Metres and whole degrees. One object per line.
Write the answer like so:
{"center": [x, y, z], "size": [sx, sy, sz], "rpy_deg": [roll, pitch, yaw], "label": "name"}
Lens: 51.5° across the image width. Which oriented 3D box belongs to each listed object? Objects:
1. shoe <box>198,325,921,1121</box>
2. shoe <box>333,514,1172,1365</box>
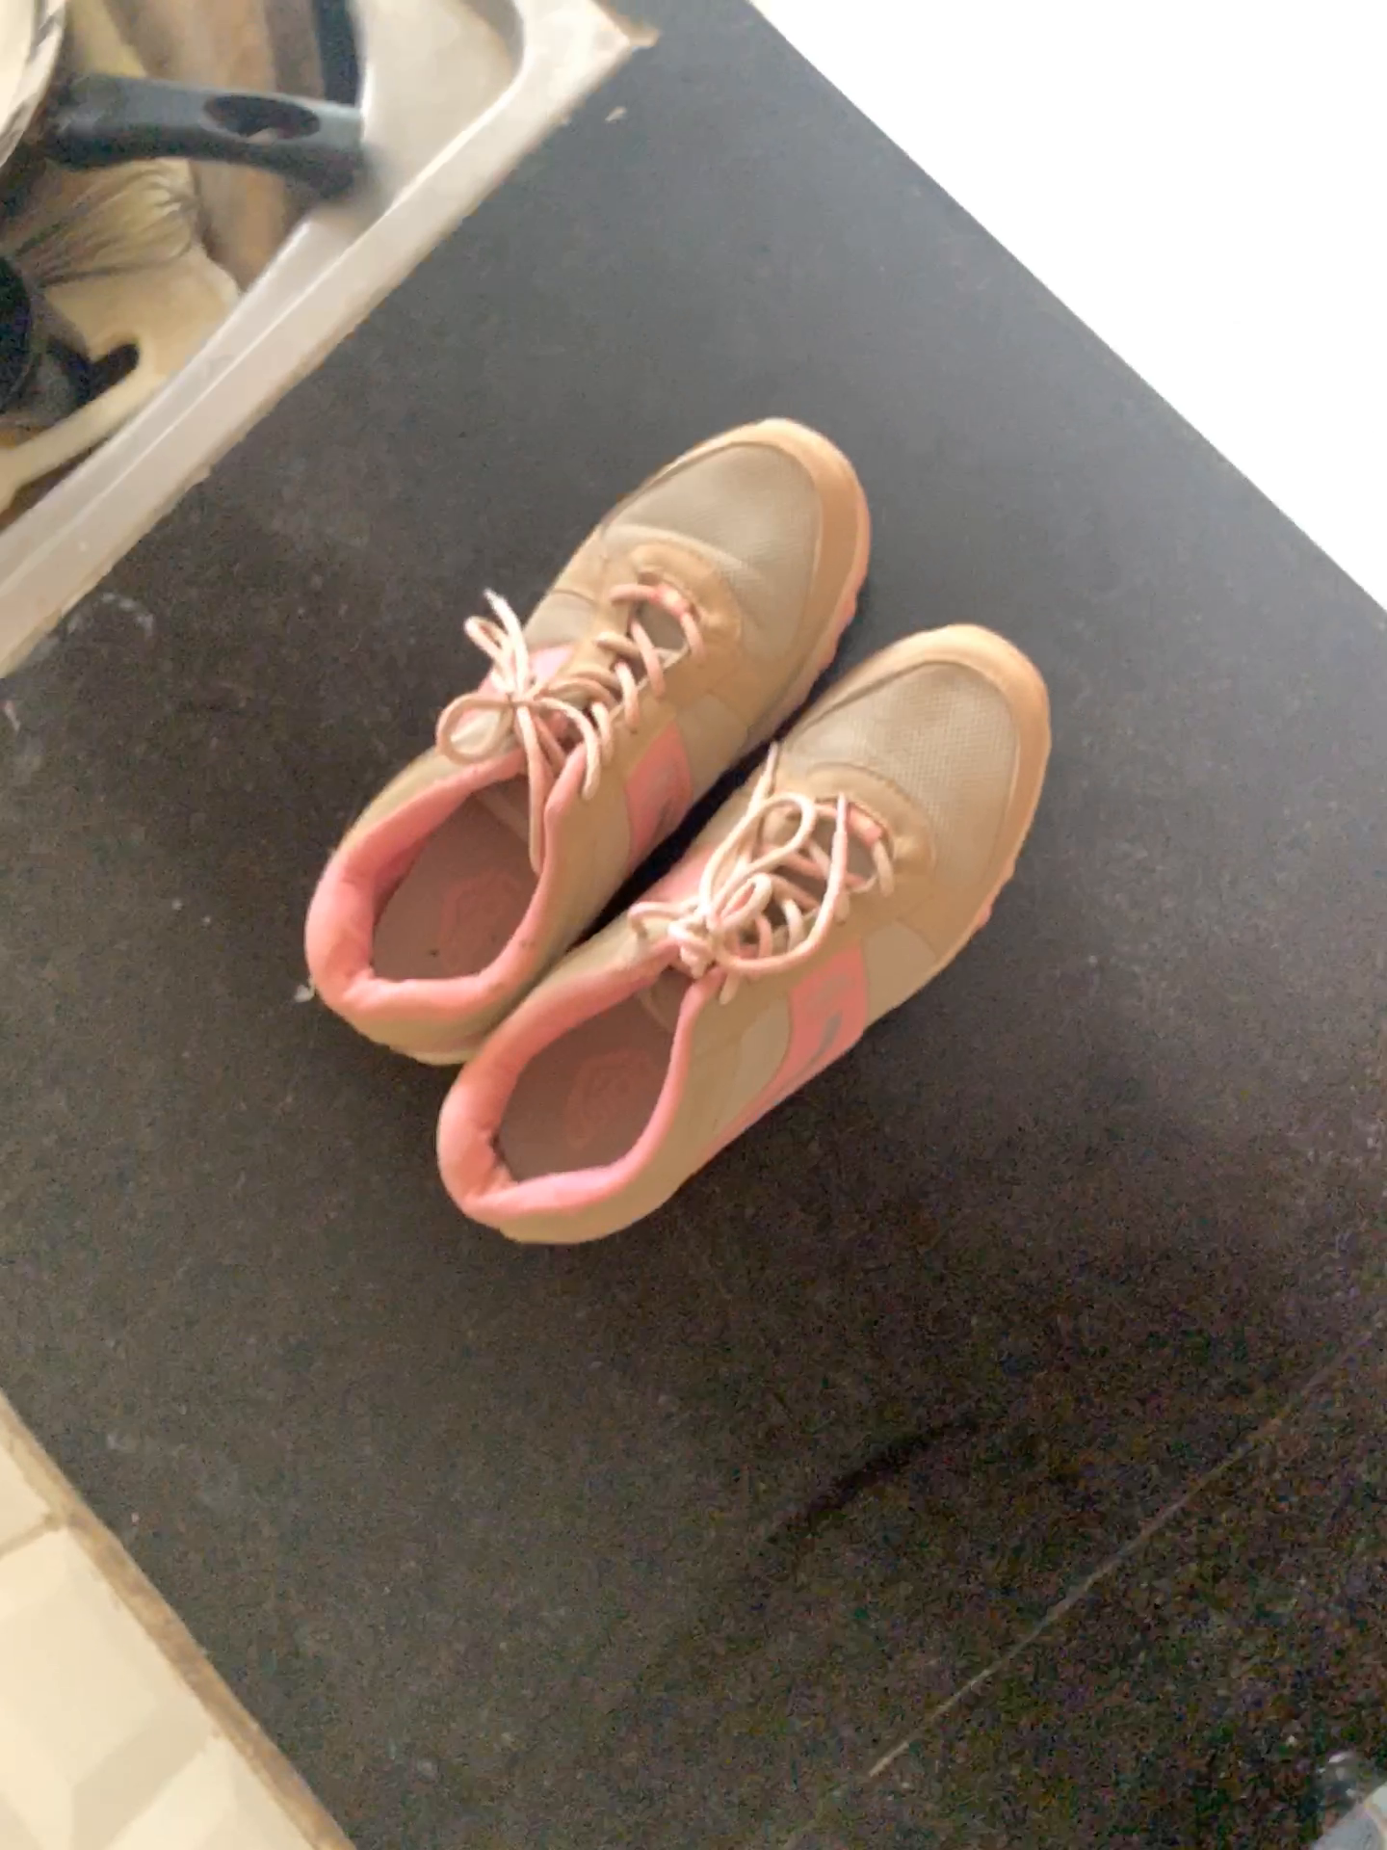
{"center": [-0.035, -0.057, 0.472], "size": [0.090, 0.100, 0.230], "rpy_deg": [40, 92, 8], "label": "shoe"}
{"center": [0.020, 0.007, 0.458], "size": [0.100, 0.100, 0.240], "rpy_deg": [44, 93, 8], "label": "shoe"}
